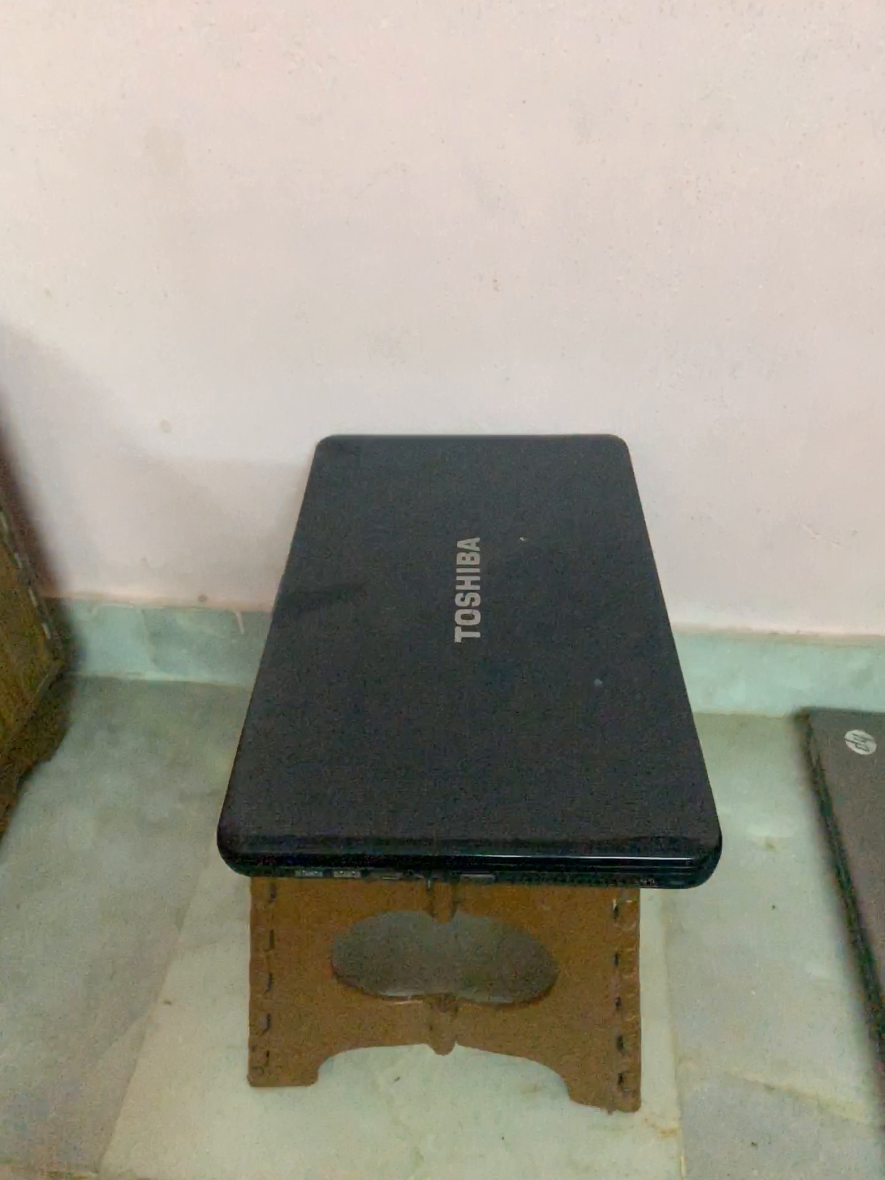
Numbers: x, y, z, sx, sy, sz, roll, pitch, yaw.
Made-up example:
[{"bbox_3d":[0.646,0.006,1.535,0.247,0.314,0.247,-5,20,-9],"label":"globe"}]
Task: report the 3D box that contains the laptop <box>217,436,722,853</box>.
[{"bbox_3d":[0.017,0.000,0.566,0.236,0.001,0.370,1,40,2],"label":"laptop"}]
